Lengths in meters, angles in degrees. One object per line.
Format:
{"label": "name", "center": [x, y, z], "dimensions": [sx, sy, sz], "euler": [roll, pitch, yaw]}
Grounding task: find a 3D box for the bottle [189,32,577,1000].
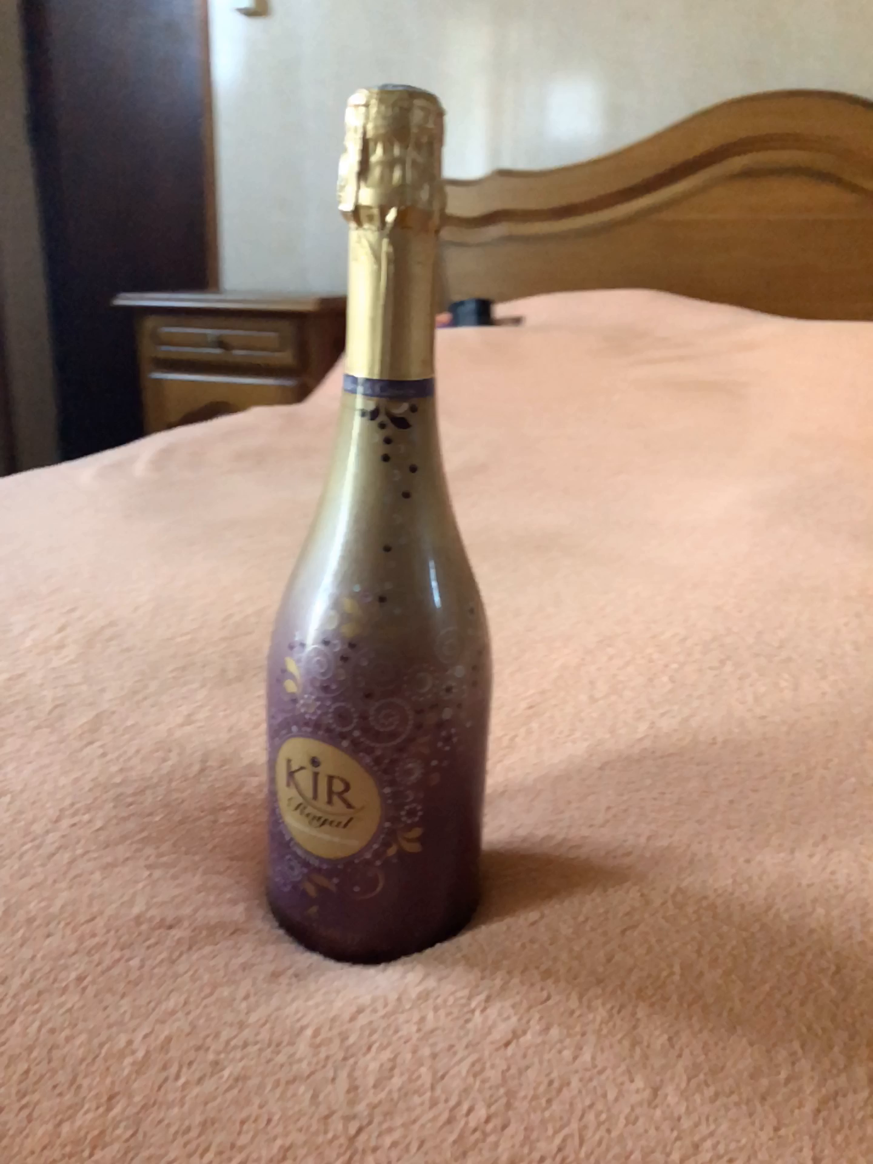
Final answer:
{"label": "bottle", "center": [-0.021, -0.017, 0.356], "dimensions": [0.090, 0.309, 0.090], "euler": [3, 18, -1]}
